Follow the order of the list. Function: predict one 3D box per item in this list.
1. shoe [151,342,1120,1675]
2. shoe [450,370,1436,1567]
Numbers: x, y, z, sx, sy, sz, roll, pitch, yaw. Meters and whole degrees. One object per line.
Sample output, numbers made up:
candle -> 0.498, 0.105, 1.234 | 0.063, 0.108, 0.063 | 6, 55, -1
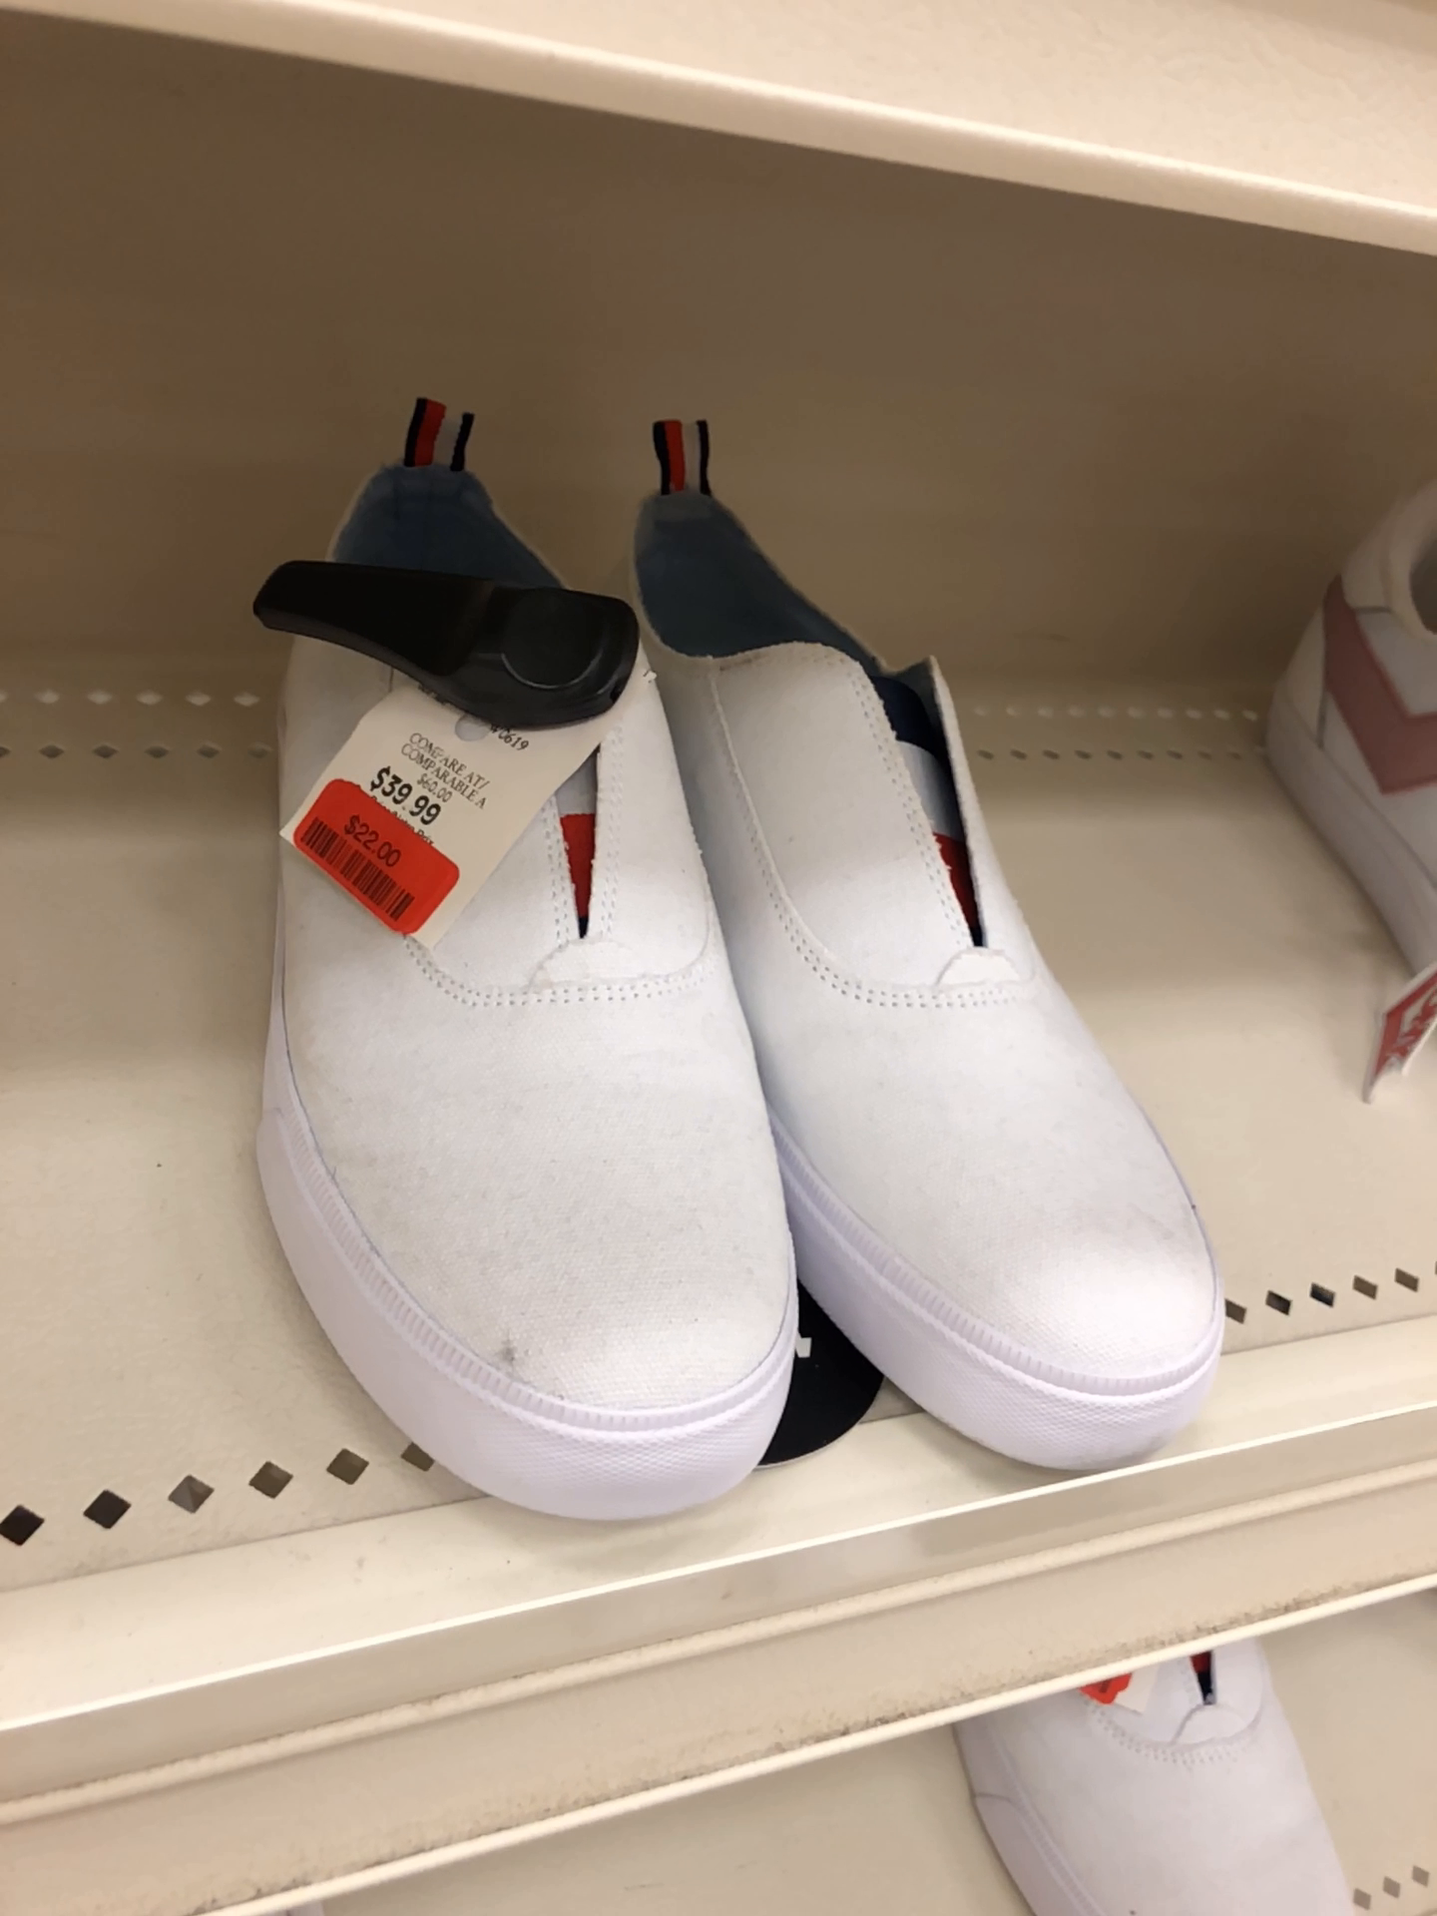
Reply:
shoe -> -0.051, -0.027, 0.321 | 0.100, 0.089, 0.292 | -2, 38, -23
shoe -> 0.023, -0.030, 0.380 | 0.100, 0.109, 0.302 | -2, 38, -23
